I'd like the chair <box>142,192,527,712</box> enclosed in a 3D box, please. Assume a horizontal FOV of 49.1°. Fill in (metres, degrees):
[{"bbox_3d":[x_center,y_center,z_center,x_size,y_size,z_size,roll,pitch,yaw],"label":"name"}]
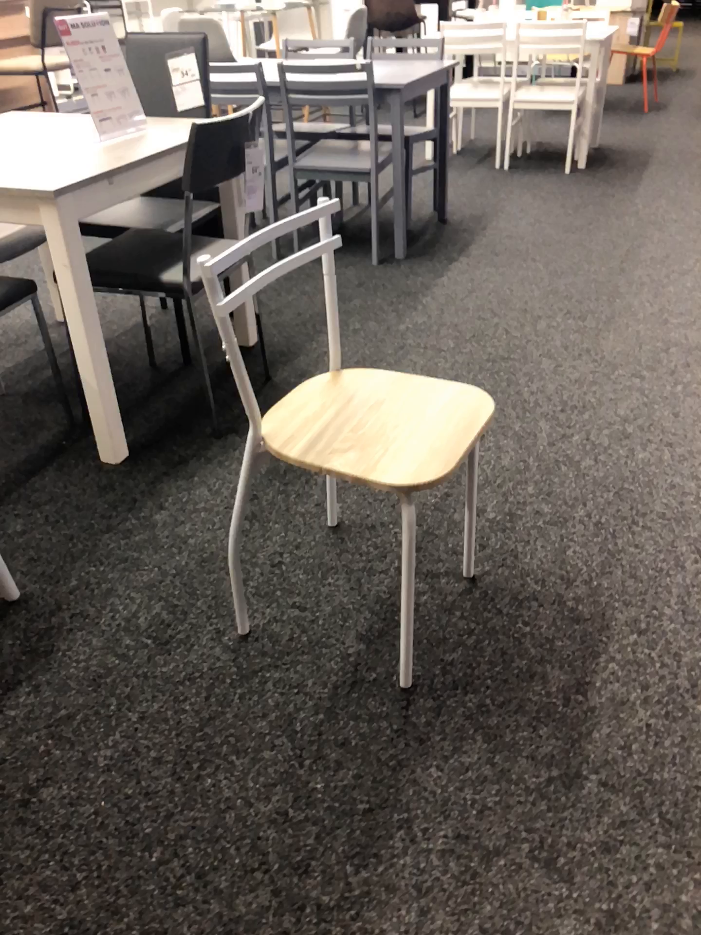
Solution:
[{"bbox_3d":[0.016,-0.053,1.399,0.440,0.725,0.503,11,35,20],"label":"chair"}]
